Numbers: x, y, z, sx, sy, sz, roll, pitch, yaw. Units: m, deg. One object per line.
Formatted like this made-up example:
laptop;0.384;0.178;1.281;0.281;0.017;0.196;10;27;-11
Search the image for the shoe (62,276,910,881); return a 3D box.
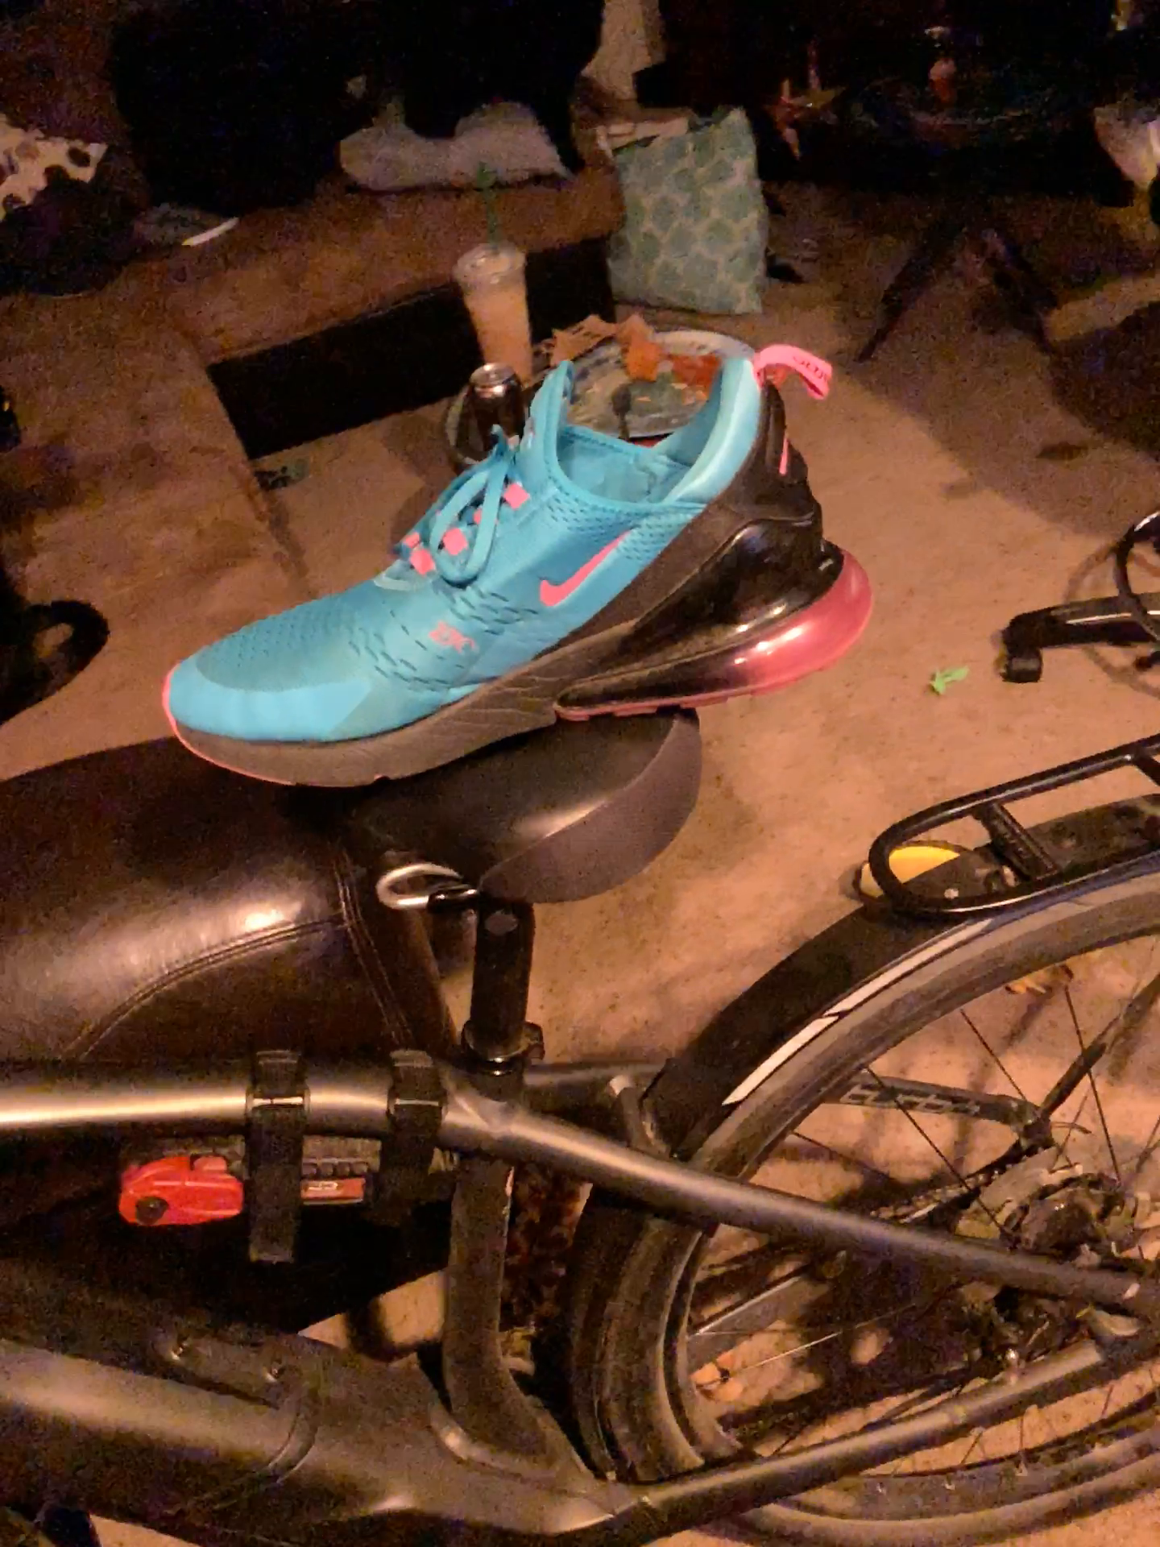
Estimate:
shoe;-0.039;-0.095;0.580;0.330;0.130;0.150;-17;41;-6
